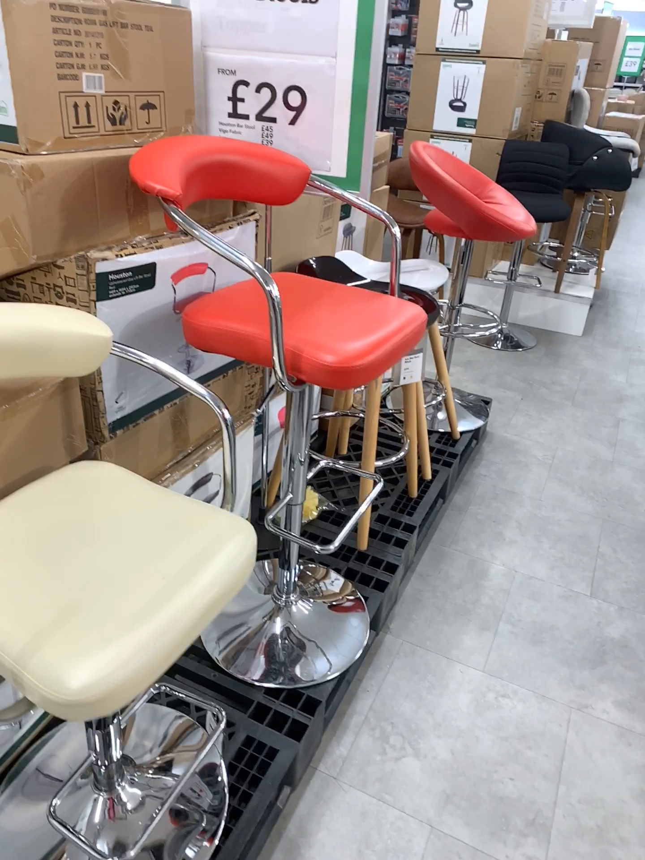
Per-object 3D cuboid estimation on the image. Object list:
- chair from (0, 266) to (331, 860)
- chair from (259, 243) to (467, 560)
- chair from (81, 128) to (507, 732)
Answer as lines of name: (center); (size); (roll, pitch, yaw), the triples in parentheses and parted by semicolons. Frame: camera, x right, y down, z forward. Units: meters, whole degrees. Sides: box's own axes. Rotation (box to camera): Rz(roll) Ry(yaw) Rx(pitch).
chair: (-0.326, 0.267, 0.977); (0.459, 0.838, 0.499); (15, 30, 20)
chair: (0.103, -0.099, 1.863); (0.389, 0.710, 0.429); (16, 31, 21)
chair: (-0.039, -0.033, 1.325); (0.529, 0.977, 0.529); (15, 30, 20)
